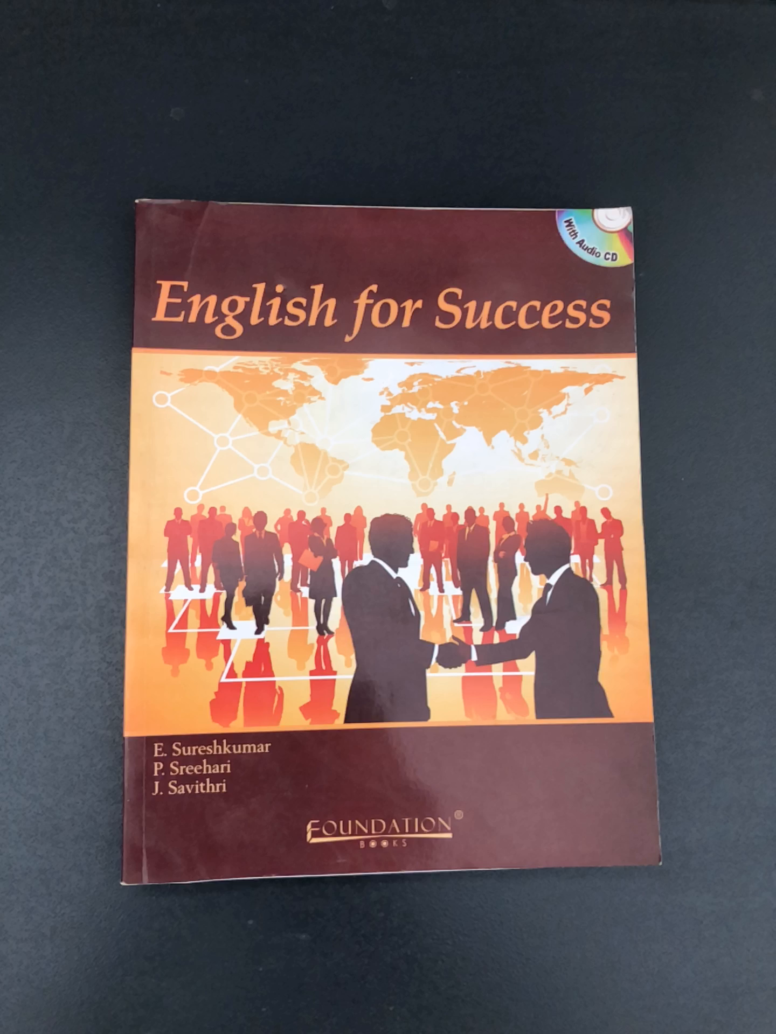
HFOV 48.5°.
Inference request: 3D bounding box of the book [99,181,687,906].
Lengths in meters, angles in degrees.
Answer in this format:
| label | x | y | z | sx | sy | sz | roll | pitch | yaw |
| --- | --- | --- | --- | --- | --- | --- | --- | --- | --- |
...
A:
| label | x | y | z | sx | sy | sz | roll | pitch | yaw |
| --- | --- | --- | --- | --- | --- | --- | --- | --- | --- |
| book | 0.000 | 0.003 | 0.307 | 0.190 | 0.030 | 0.240 | -1 | 83 | -5 |
